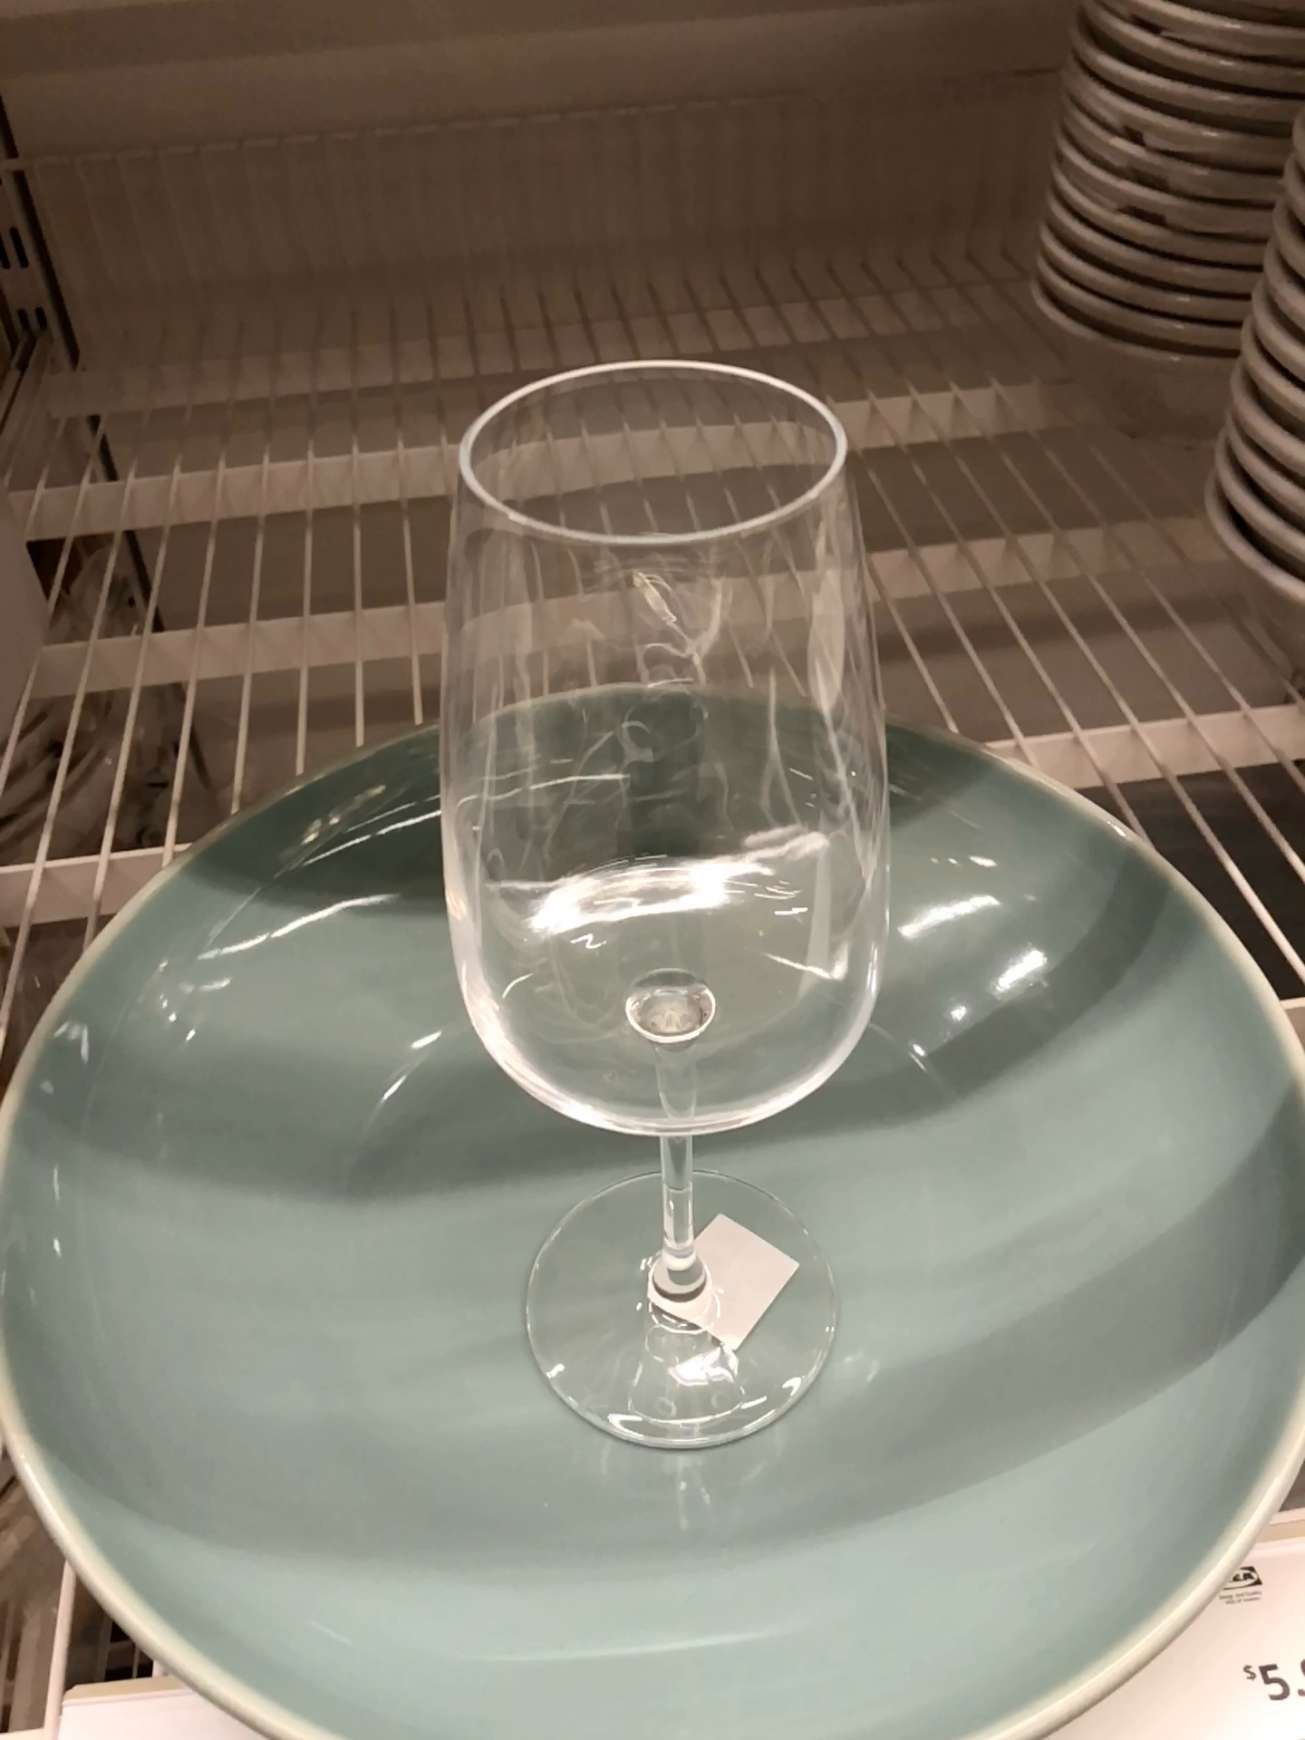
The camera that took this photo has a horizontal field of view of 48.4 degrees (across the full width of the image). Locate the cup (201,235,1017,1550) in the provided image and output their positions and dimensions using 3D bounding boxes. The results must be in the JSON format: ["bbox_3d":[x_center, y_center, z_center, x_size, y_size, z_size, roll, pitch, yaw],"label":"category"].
[{"bbox_3d":[0.004,0.023,0.324,0.100,0.279,0.100,-2,41,2],"label":"cup"}]
